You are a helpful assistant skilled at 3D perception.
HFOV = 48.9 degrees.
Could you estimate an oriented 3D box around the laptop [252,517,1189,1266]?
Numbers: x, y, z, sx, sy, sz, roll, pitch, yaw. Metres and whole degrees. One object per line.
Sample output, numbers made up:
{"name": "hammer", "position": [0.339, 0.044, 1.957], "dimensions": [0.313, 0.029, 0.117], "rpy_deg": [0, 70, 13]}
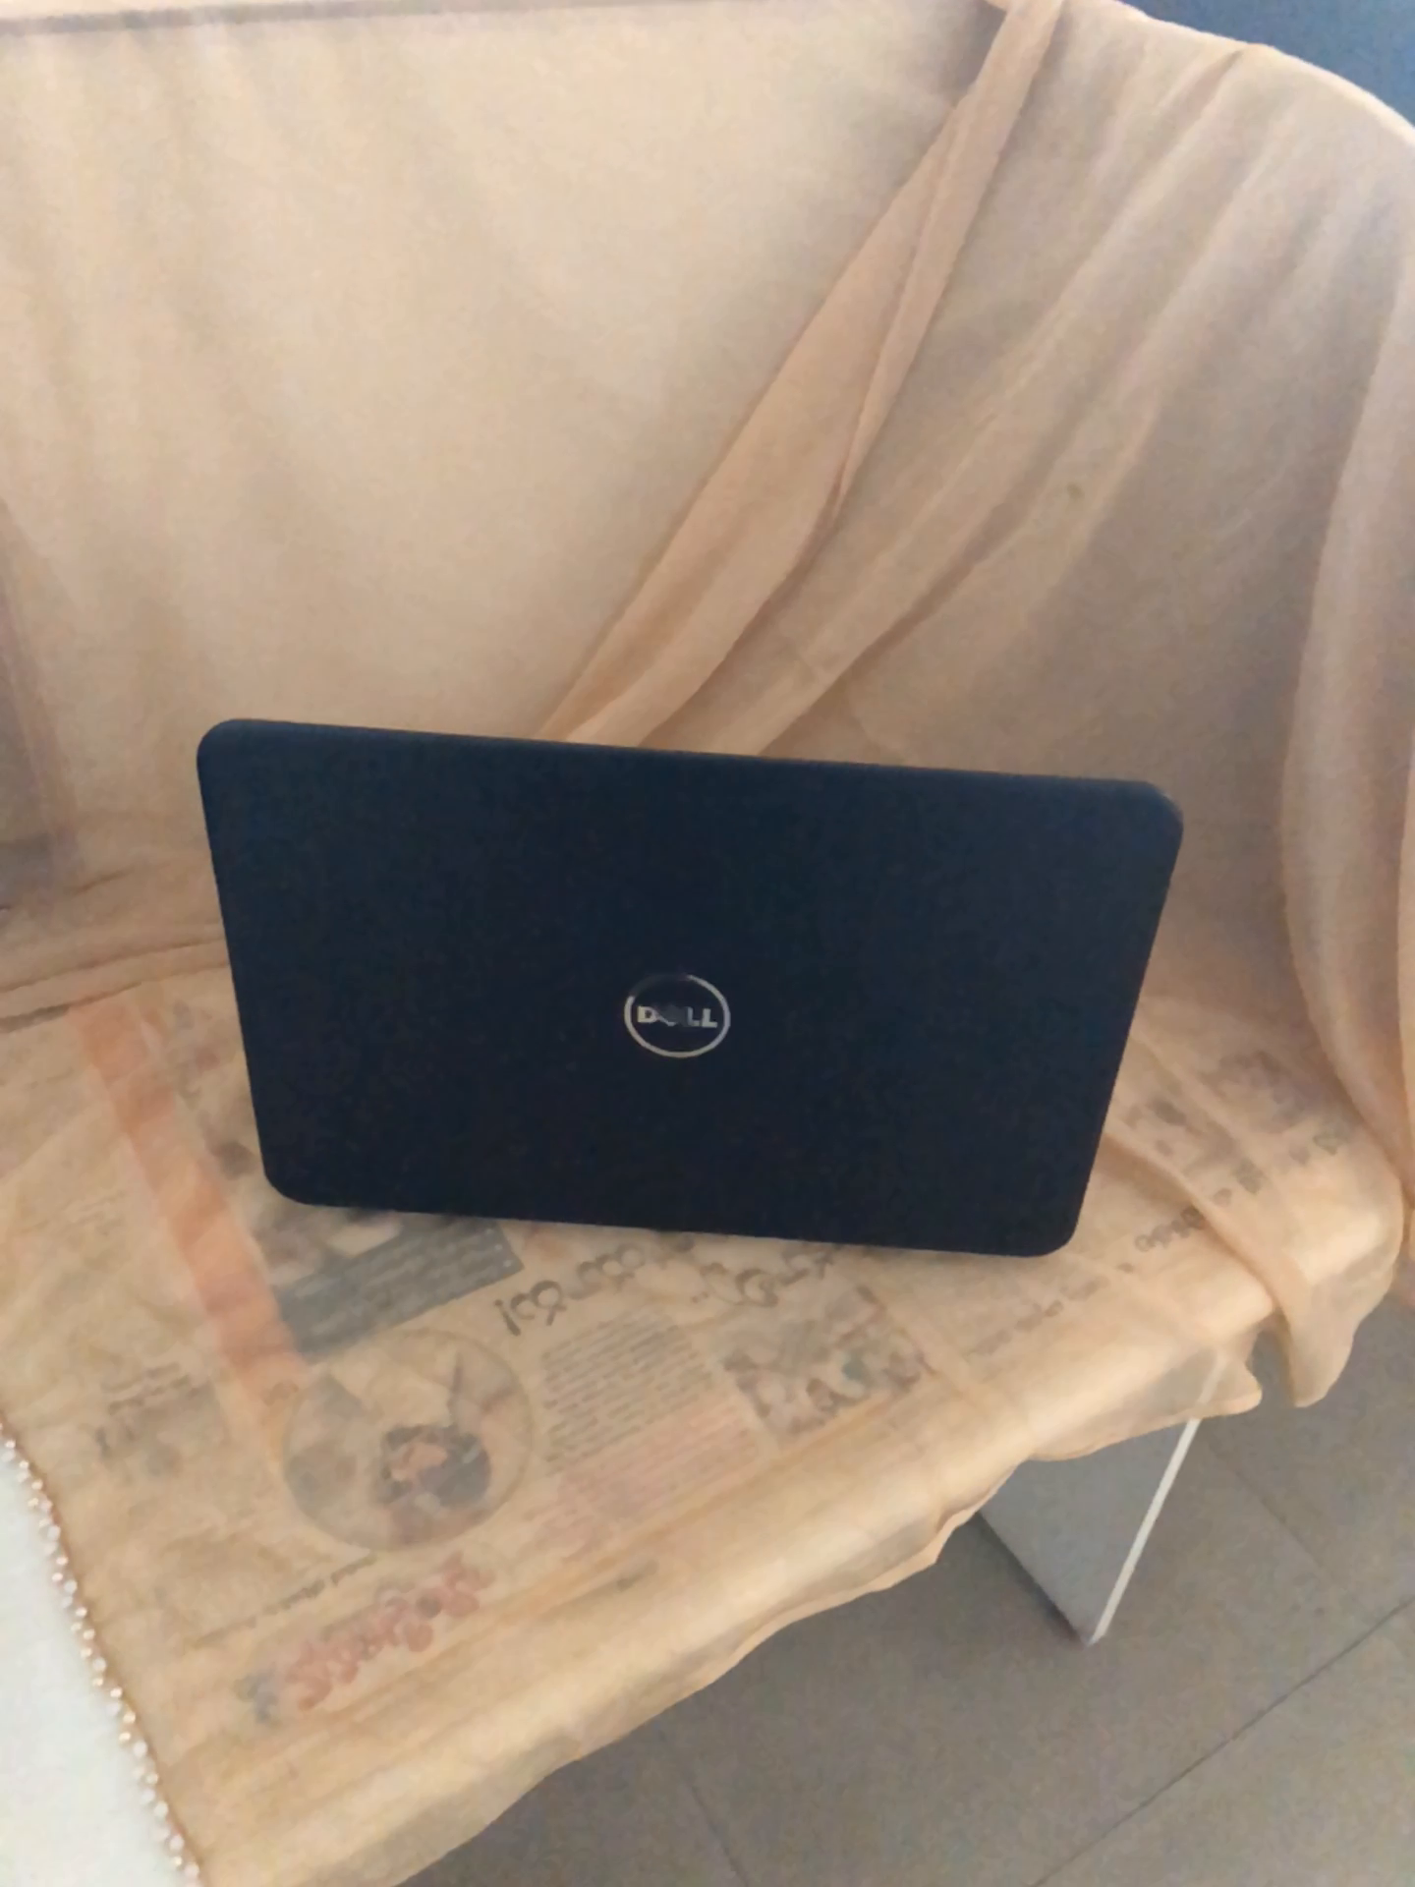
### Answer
{"name": "laptop", "position": [-0.001, -0.033, 0.730], "dimensions": [0.332, 0.237, 0.258], "rpy_deg": [3, 37, 1]}
